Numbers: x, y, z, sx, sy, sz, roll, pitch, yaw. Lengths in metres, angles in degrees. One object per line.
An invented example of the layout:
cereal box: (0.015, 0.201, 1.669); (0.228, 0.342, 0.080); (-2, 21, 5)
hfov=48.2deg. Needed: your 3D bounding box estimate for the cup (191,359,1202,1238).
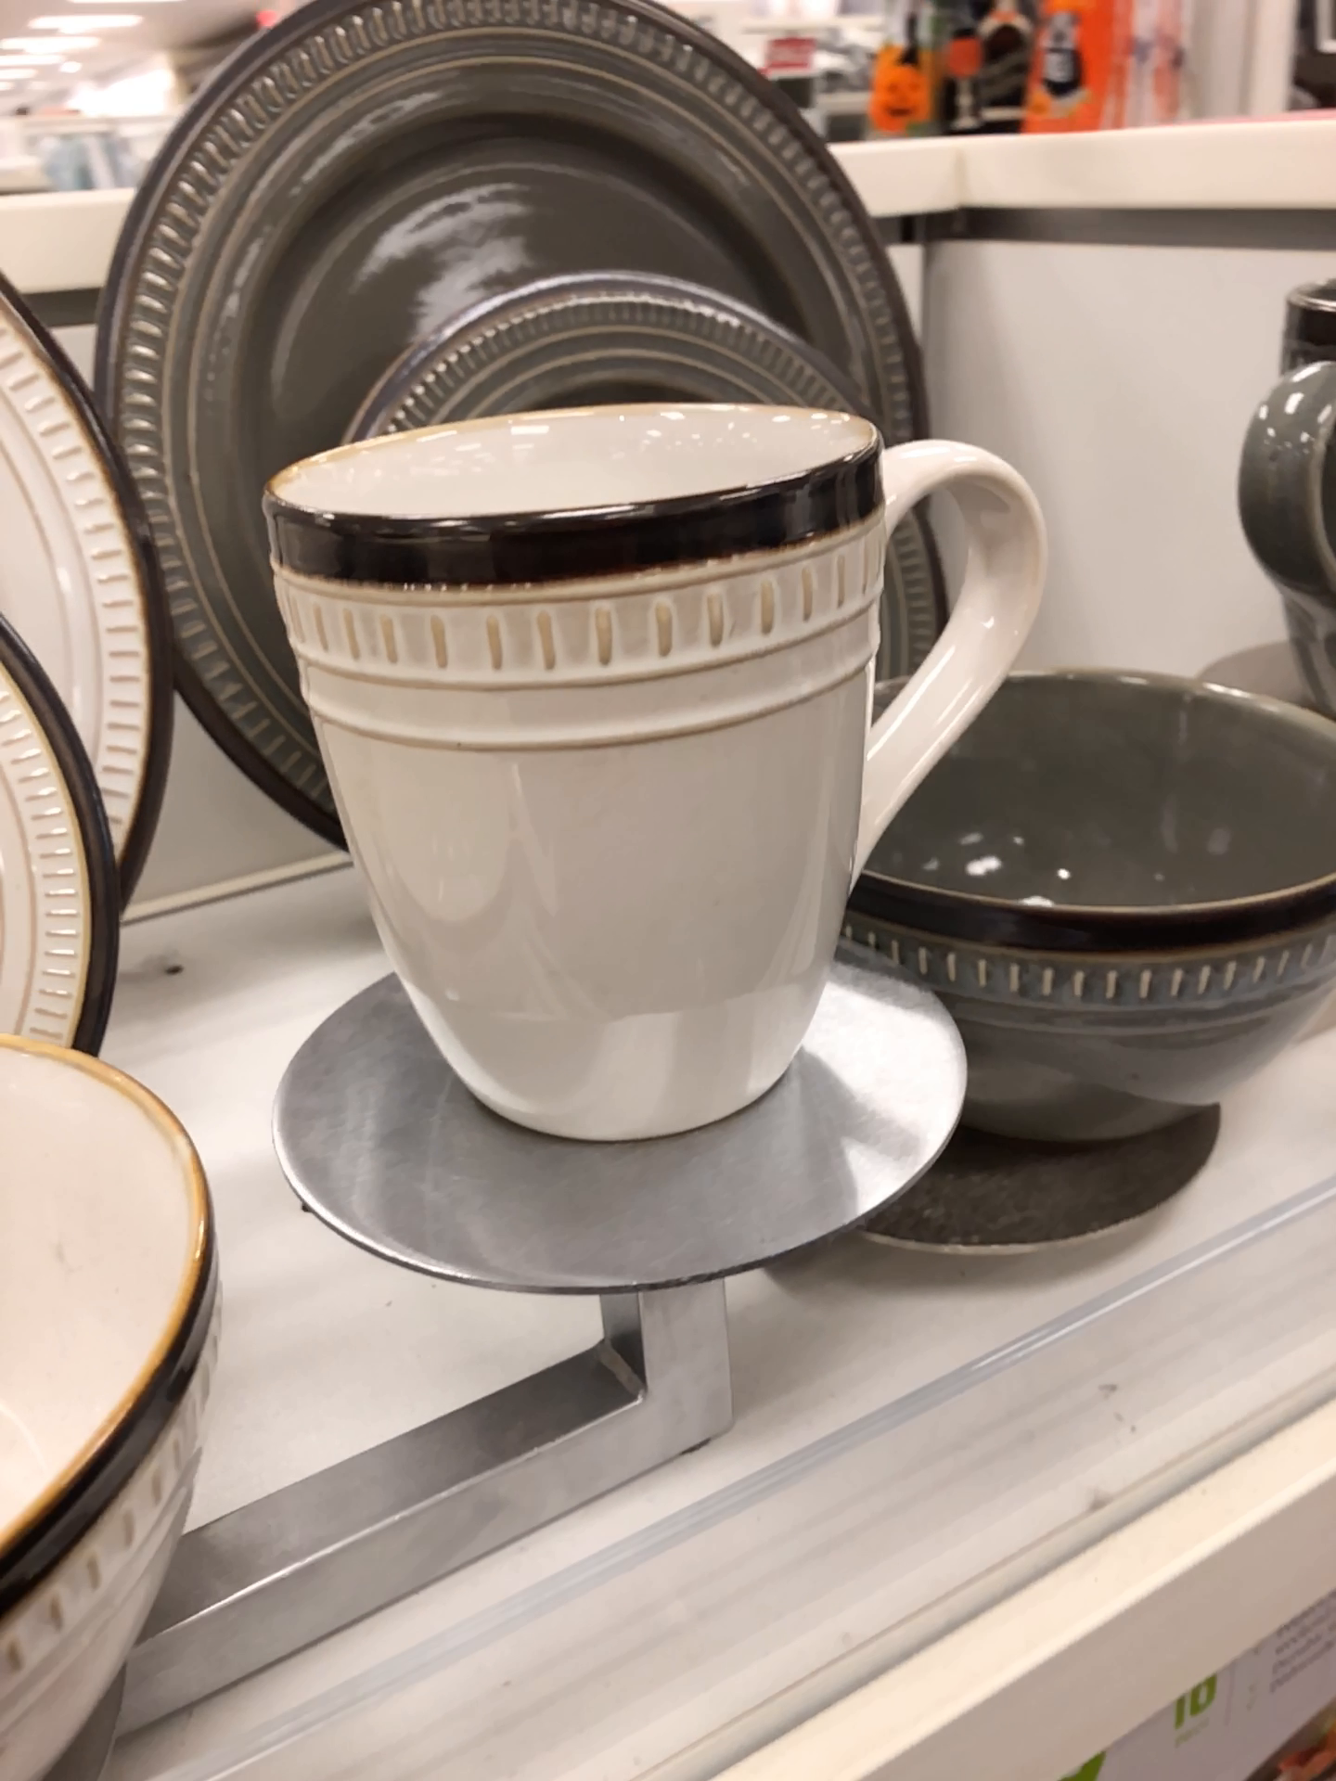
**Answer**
cup: (0.006, -0.029, 0.253); (0.128, 0.097, 0.092); (-20, 30, -30)
